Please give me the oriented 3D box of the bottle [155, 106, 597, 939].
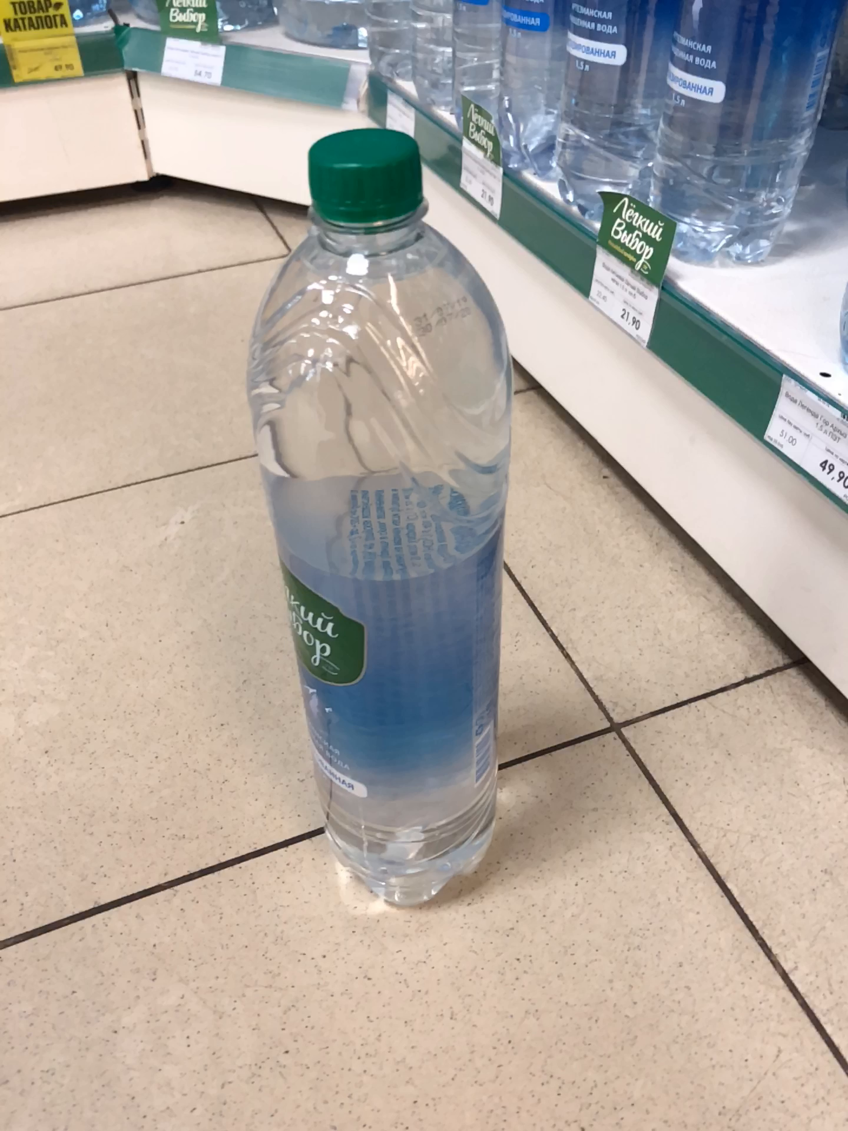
[{"bbox_3d":[-0.012,0.008,0.347,0.086,0.299,0.089,-1,42,1],"label":"bottle"}]
